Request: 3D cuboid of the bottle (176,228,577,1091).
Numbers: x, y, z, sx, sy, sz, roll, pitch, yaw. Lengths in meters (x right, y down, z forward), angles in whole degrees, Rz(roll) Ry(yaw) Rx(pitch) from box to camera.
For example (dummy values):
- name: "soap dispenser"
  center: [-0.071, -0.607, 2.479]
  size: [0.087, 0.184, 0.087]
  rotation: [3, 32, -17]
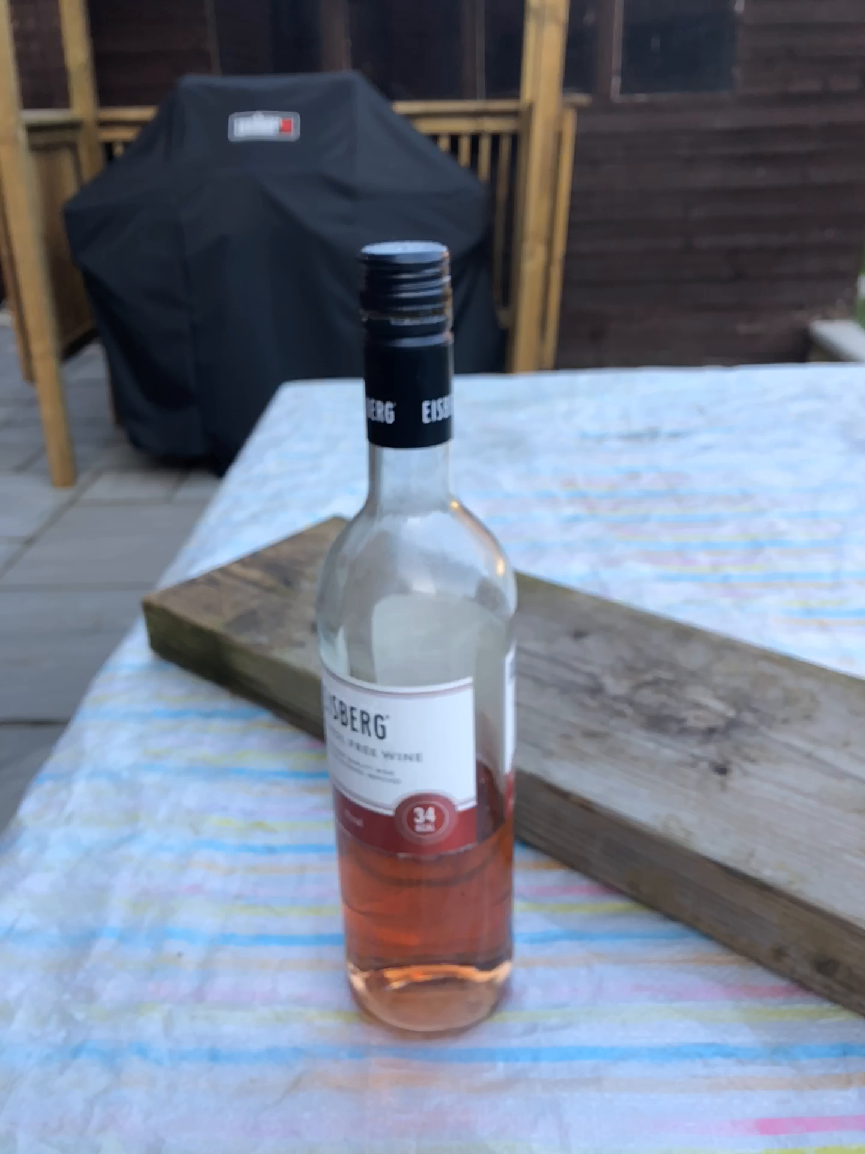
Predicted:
- name: "bottle"
  center: [-0.012, 0.032, 0.350]
  size: [0.090, 0.288, 0.080]
  rotation: [19, 32, 38]
